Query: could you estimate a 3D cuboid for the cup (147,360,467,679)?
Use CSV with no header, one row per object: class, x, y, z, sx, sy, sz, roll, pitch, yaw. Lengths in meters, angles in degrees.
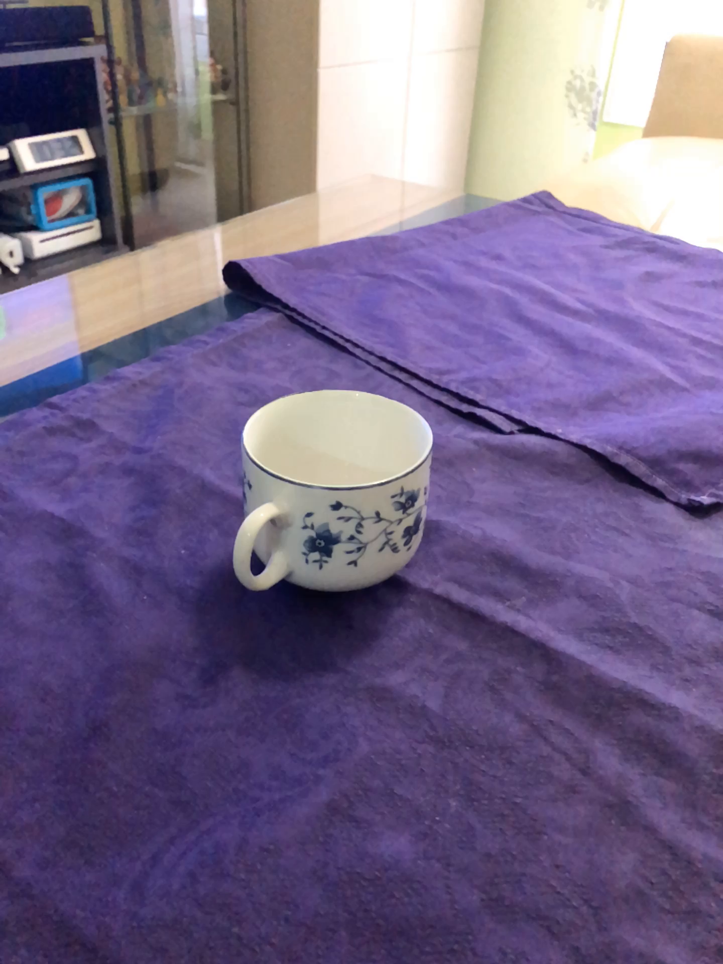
cup,-0.017,0.007,0.304,0.070,0.060,0.100,21,37,24
